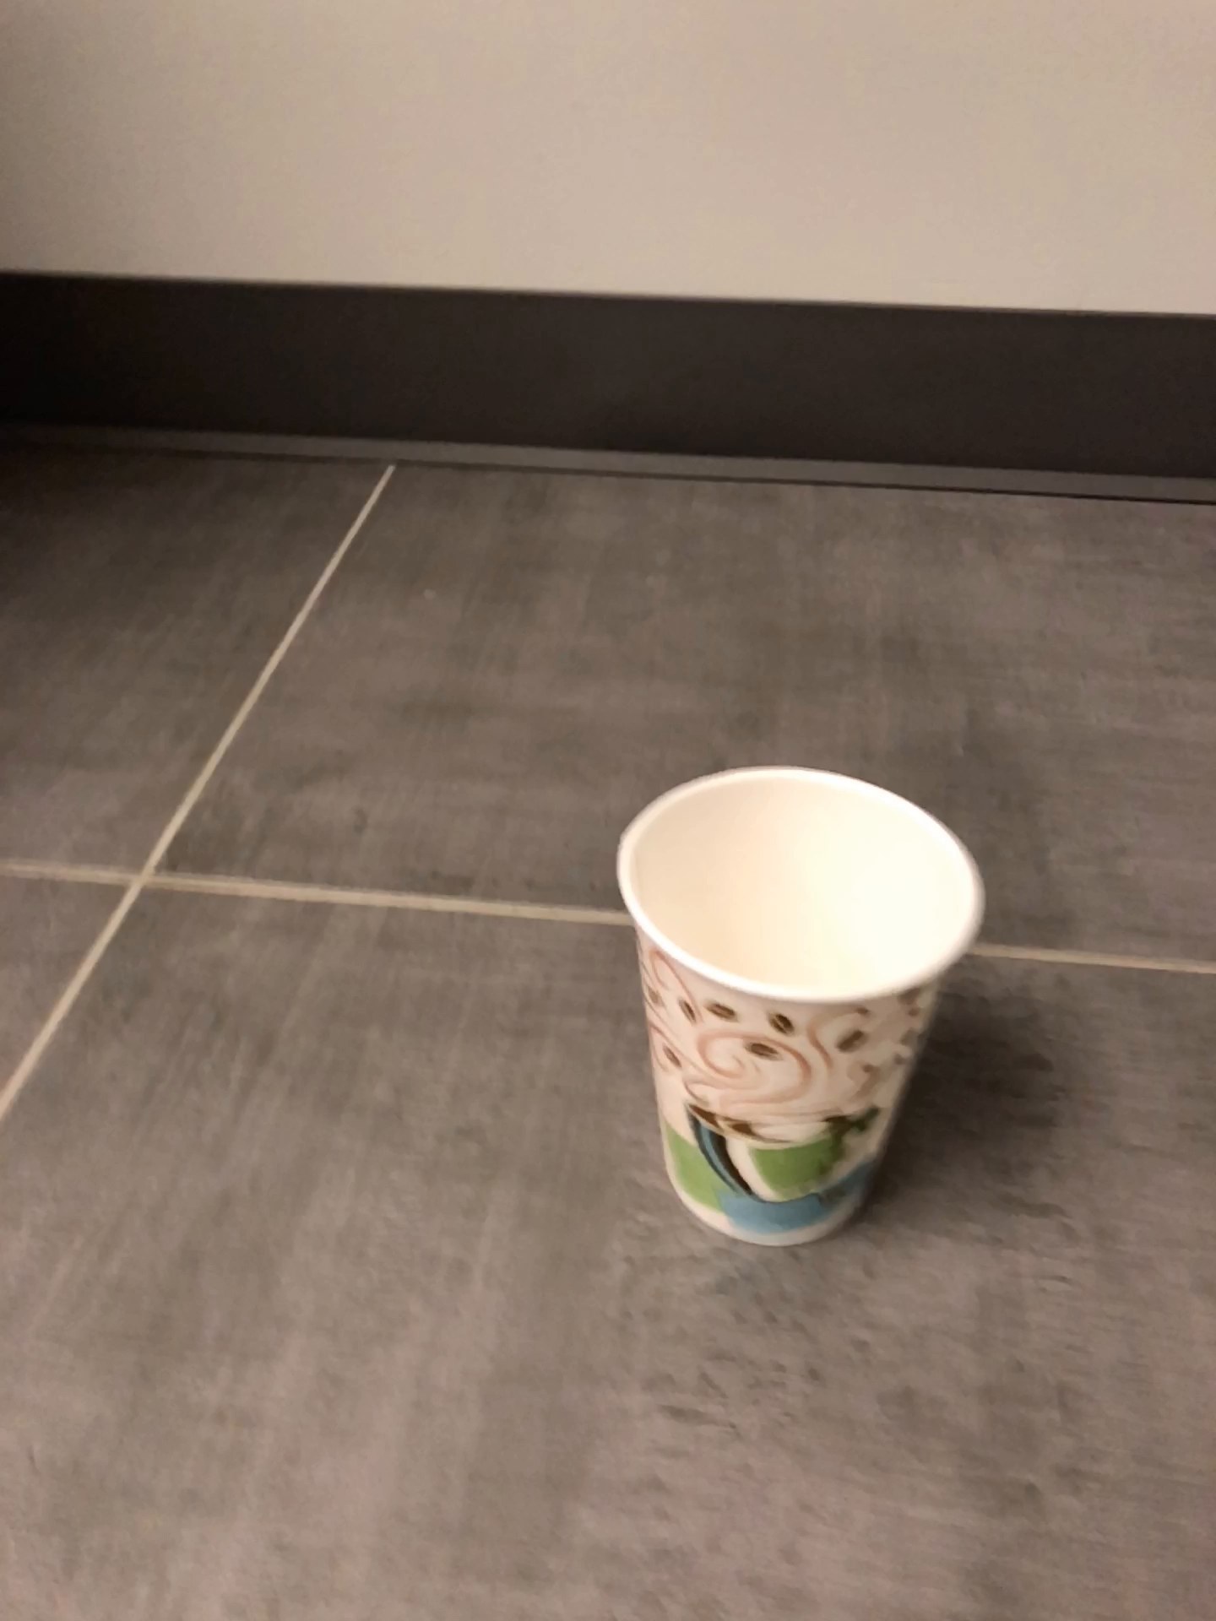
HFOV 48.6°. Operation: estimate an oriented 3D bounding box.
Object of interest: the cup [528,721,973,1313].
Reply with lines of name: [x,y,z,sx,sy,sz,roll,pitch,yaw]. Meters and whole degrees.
cup: [0.040,0.052,0.364,0.090,0.099,0.100,11,38,14]
